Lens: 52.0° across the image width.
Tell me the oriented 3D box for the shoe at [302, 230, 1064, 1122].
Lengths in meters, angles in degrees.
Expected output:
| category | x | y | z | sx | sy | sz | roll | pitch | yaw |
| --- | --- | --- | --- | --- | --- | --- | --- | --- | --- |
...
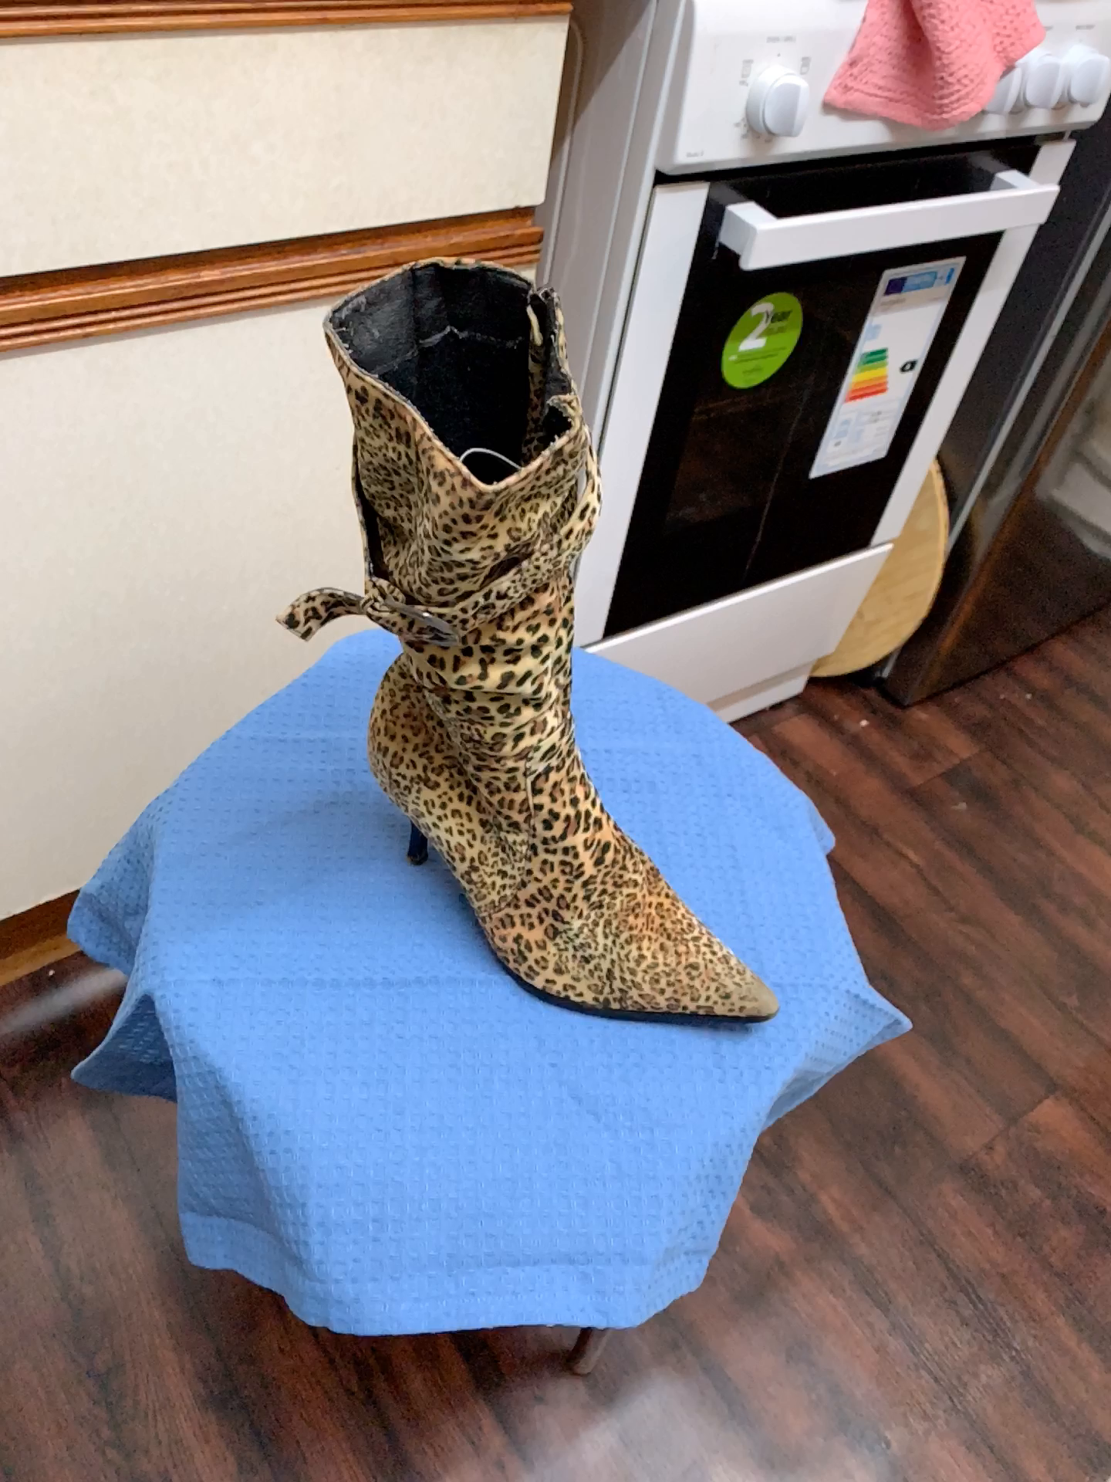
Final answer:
| category | x | y | z | sx | sy | sz | roll | pitch | yaw |
| --- | --- | --- | --- | --- | --- | --- | --- | --- | --- |
| shoe | 0.021 | -0.007 | 0.531 | 0.260 | 0.347 | 0.101 | 26 | 47 | 13 |
